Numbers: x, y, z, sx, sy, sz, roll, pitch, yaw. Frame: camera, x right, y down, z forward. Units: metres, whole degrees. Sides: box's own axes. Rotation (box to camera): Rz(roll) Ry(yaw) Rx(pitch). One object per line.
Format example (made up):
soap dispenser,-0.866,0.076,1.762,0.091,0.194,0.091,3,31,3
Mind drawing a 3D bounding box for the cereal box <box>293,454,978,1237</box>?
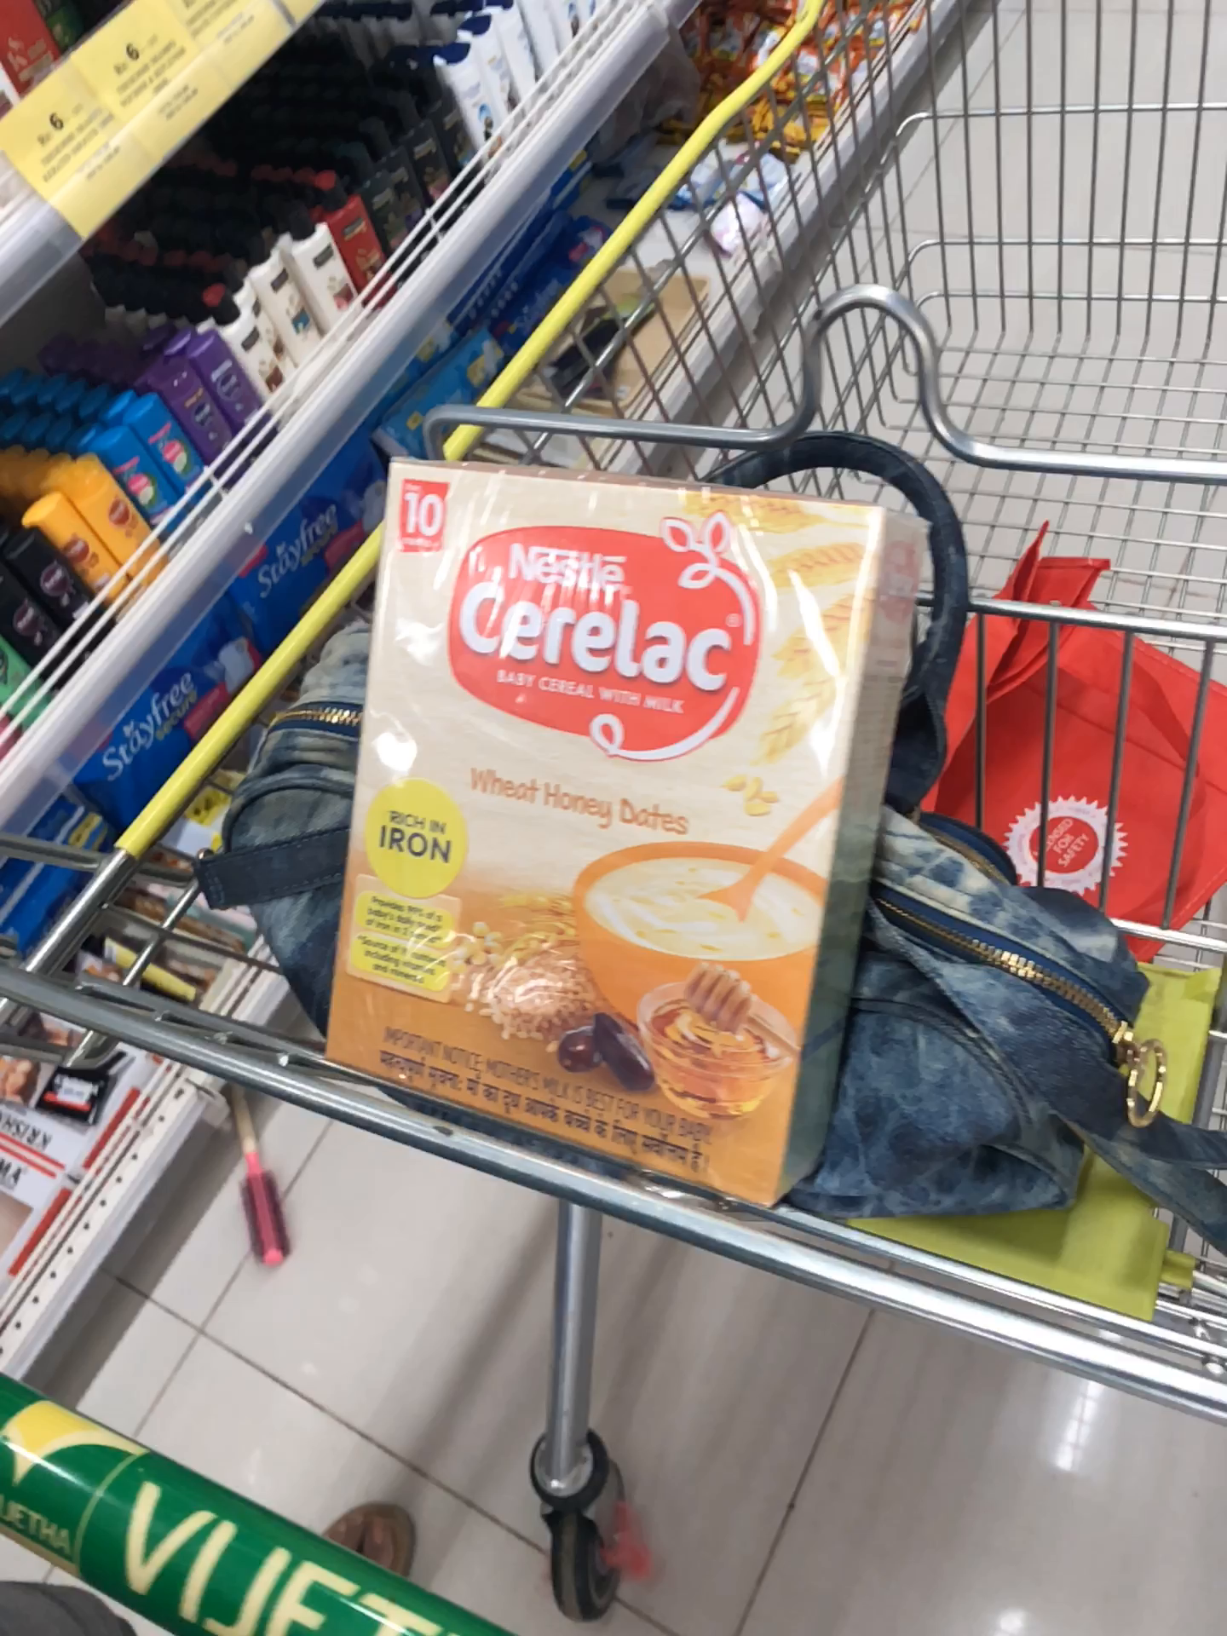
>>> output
cereal box,0.001,-0.001,0.407,0.171,0.060,0.190,12,98,25
